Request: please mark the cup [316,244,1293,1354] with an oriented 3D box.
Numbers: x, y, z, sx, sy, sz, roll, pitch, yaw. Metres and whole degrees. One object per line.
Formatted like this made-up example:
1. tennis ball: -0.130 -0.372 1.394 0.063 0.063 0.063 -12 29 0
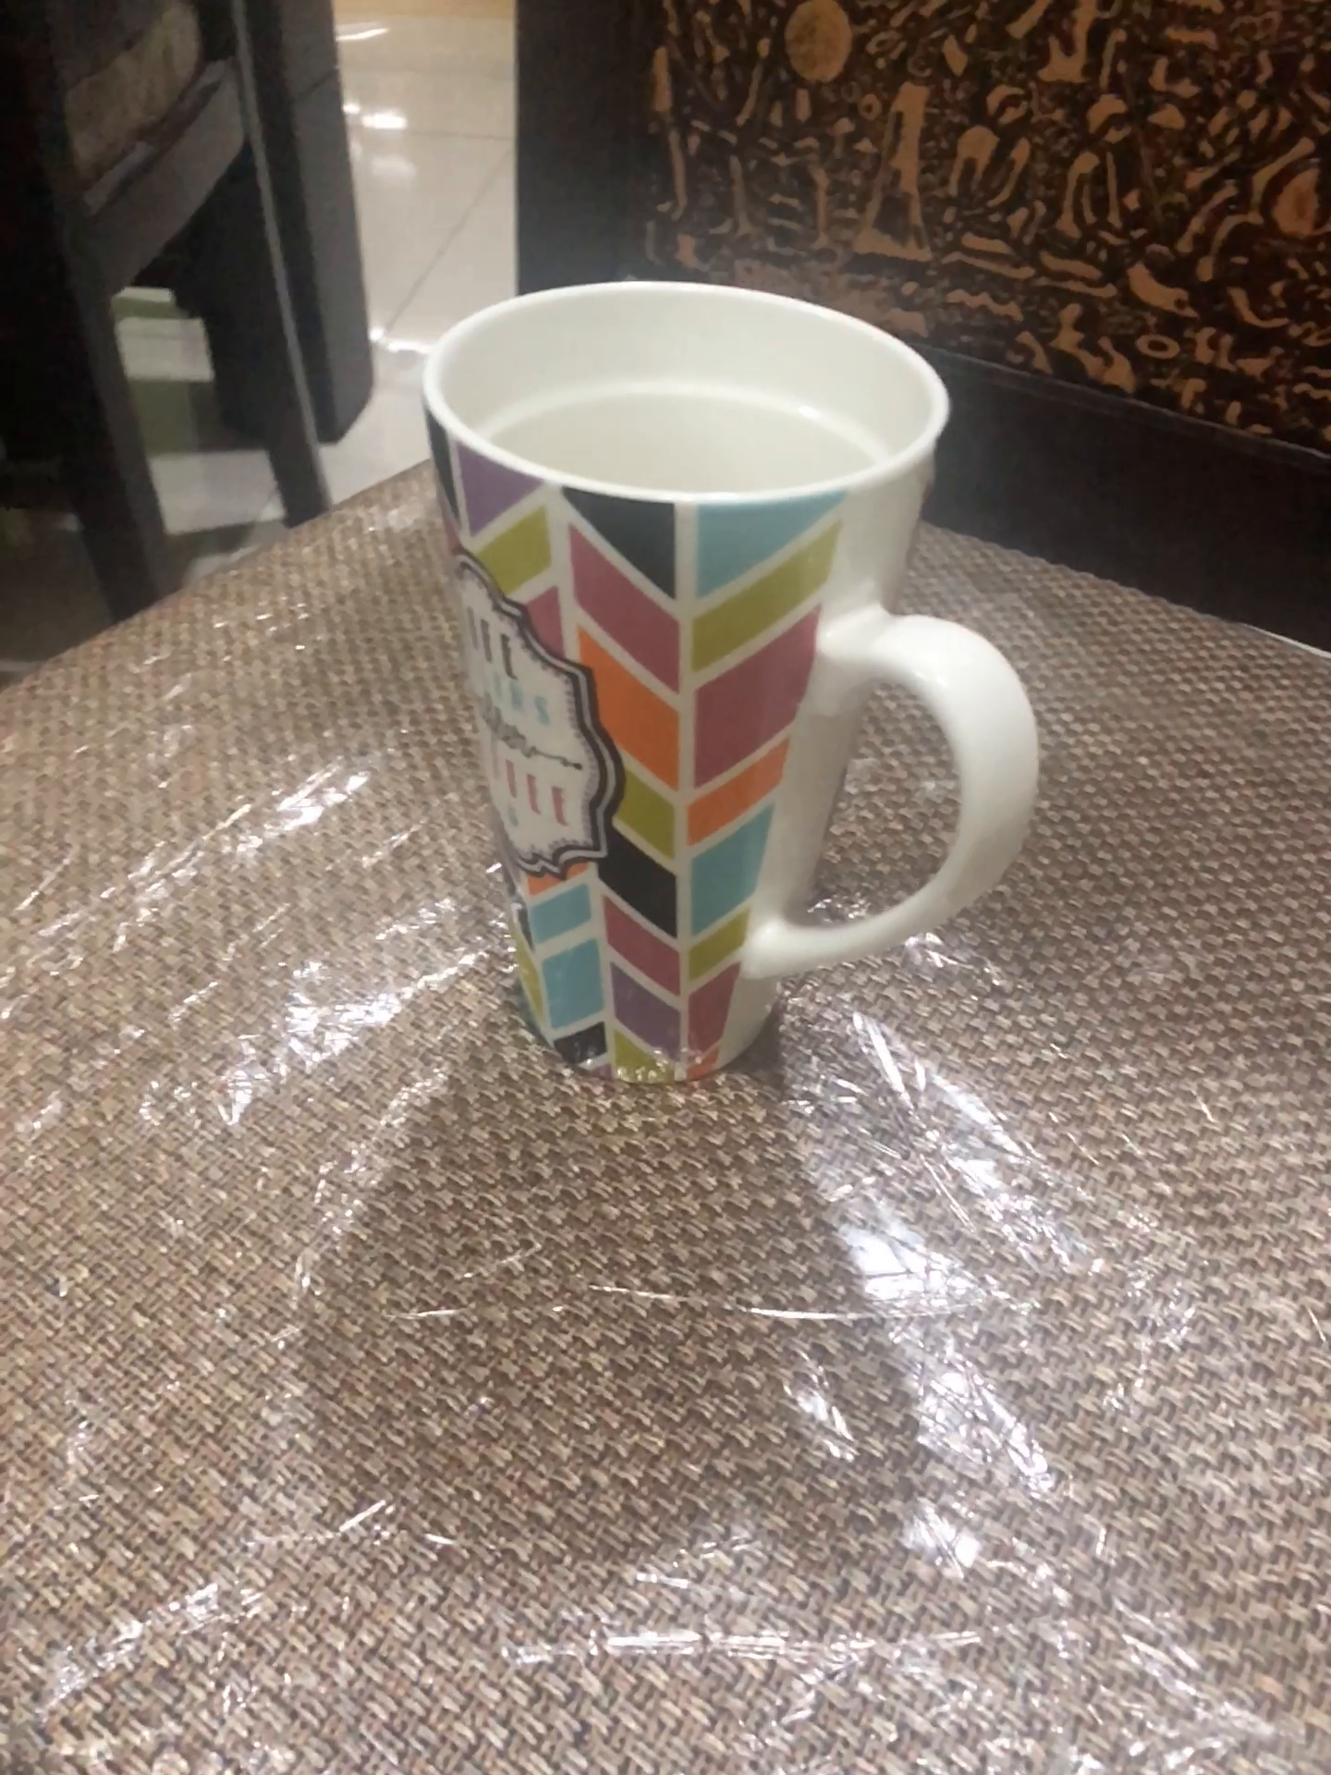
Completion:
1. cup: 0.012 -0.022 0.277 0.090 0.140 0.130 -24 48 -29
